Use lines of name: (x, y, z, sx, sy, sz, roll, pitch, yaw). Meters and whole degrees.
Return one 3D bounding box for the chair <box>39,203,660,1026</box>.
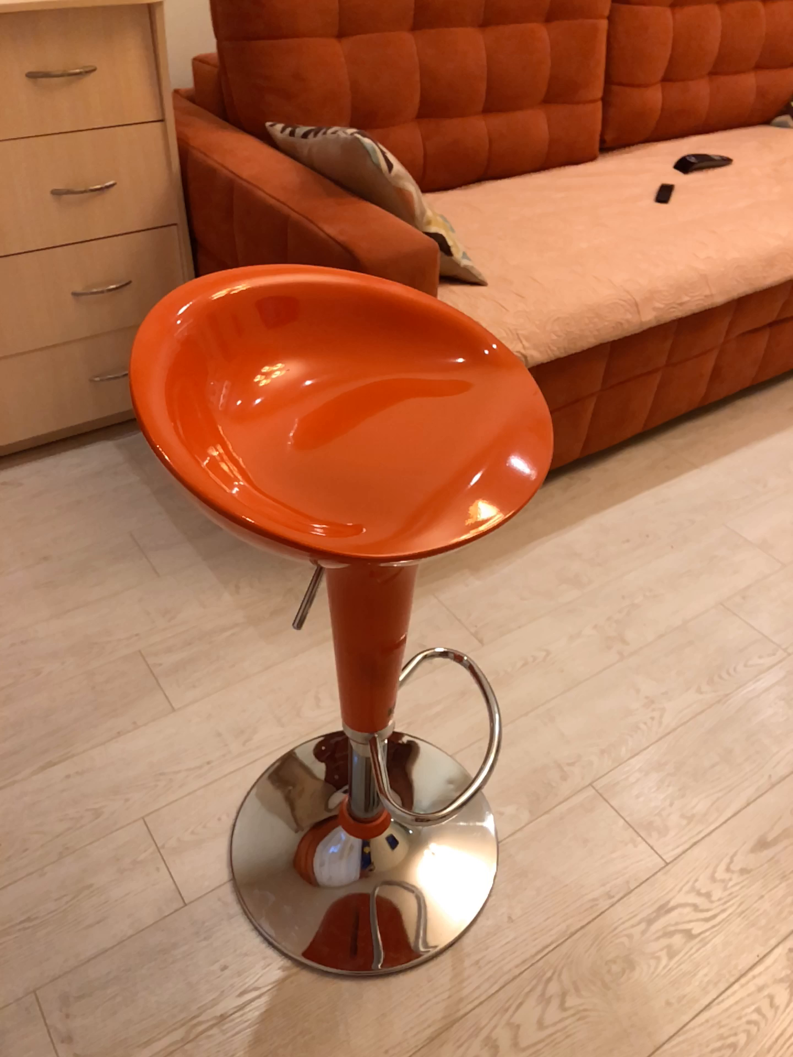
chair: (-0.009, 0.111, 0.933, 0.390, 0.735, 0.403, 12, 40, 12)
